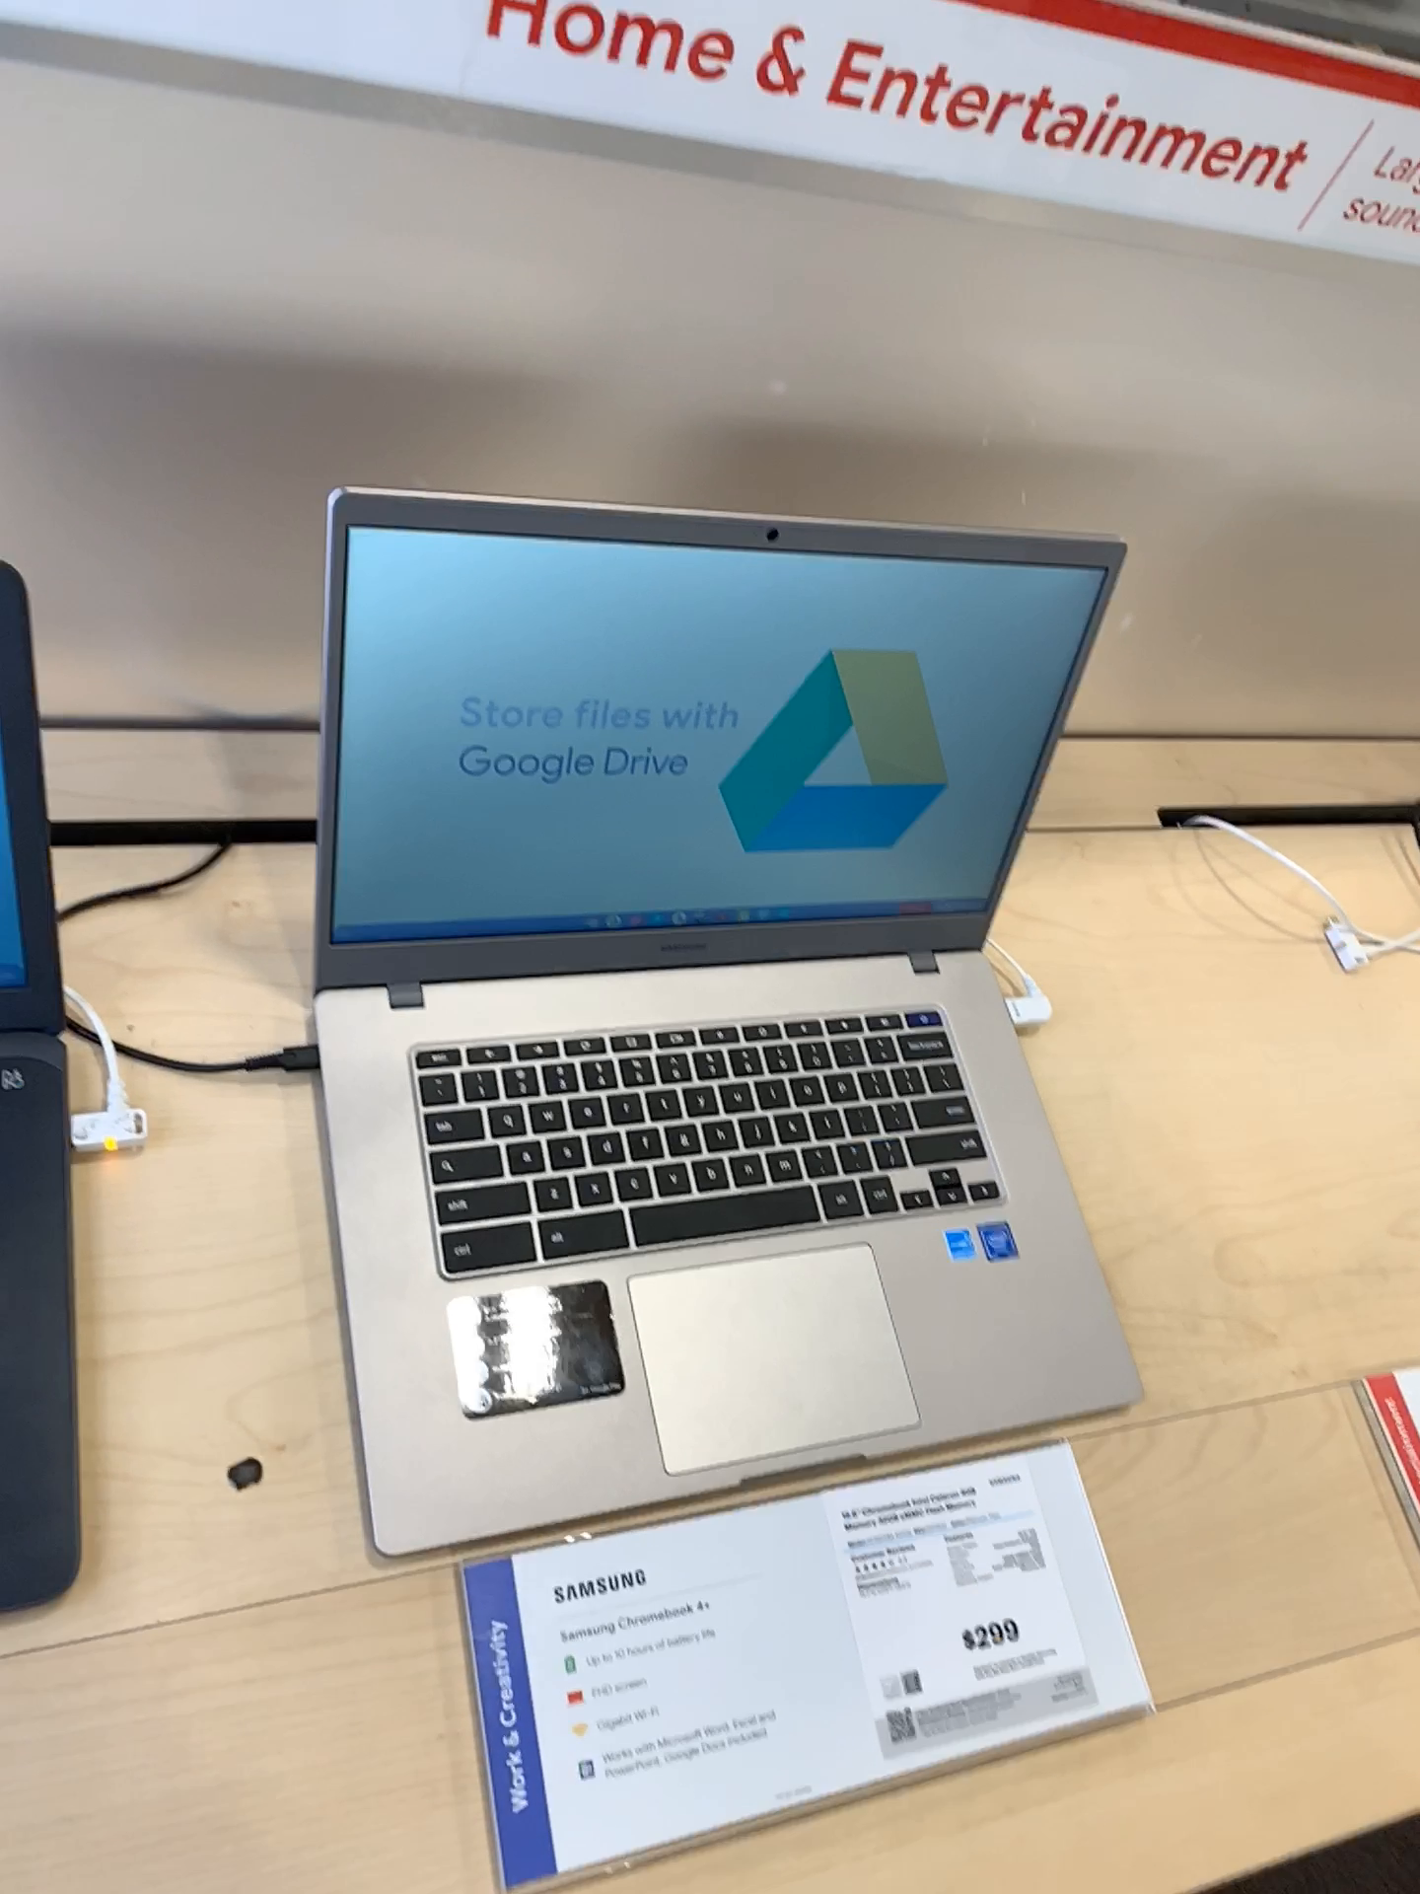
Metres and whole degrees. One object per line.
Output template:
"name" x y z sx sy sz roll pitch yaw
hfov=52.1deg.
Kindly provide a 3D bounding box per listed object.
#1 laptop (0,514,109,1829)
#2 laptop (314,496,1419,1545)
"laptop" -0.356 0.057 0.428 0.301 0.191 0.287 -4 60 -22
"laptop" 0.035 0.021 0.596 0.340 0.201 0.325 -3 62 -21
